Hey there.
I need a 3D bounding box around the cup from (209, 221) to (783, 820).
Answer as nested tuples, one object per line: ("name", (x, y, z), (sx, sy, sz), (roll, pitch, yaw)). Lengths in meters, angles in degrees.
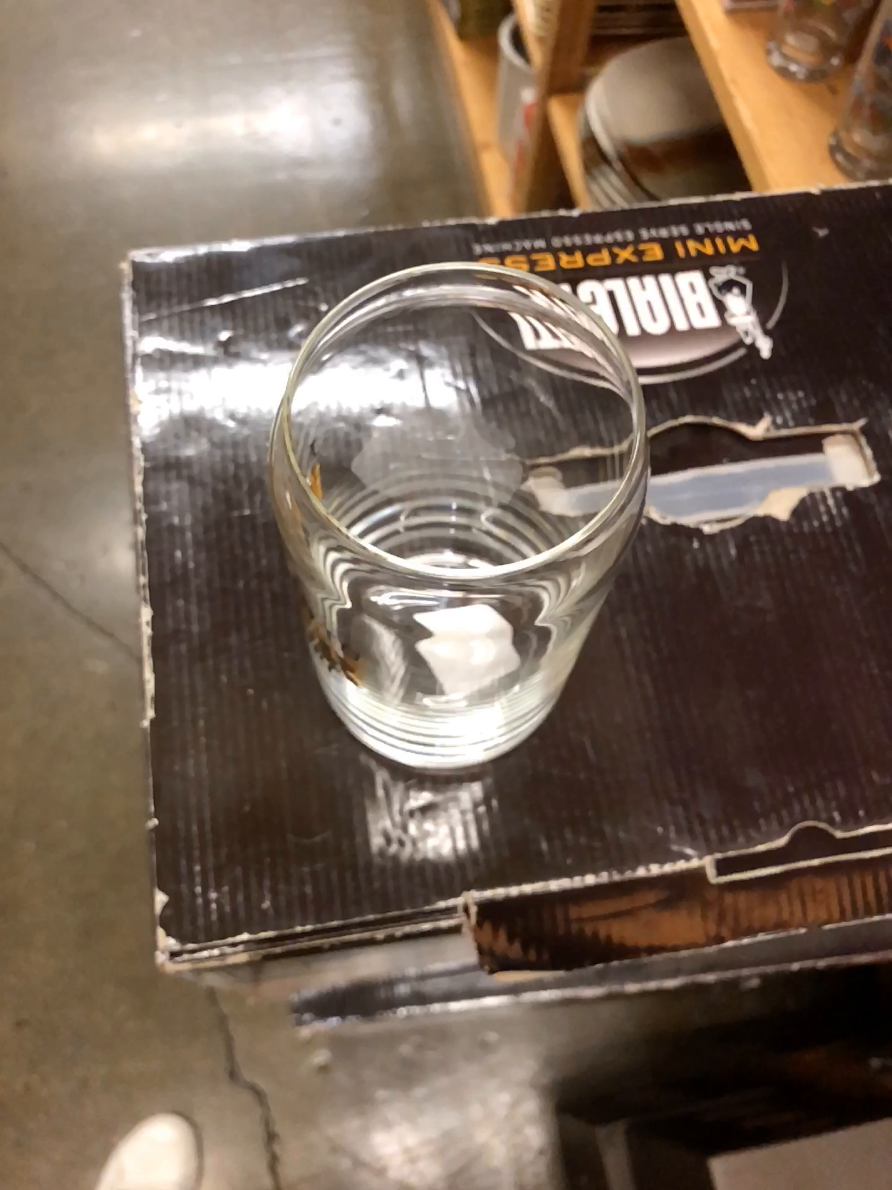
("cup", (0.002, -0.007, 0.228), (0.087, 0.116, 0.081), (1, 66, -3))
